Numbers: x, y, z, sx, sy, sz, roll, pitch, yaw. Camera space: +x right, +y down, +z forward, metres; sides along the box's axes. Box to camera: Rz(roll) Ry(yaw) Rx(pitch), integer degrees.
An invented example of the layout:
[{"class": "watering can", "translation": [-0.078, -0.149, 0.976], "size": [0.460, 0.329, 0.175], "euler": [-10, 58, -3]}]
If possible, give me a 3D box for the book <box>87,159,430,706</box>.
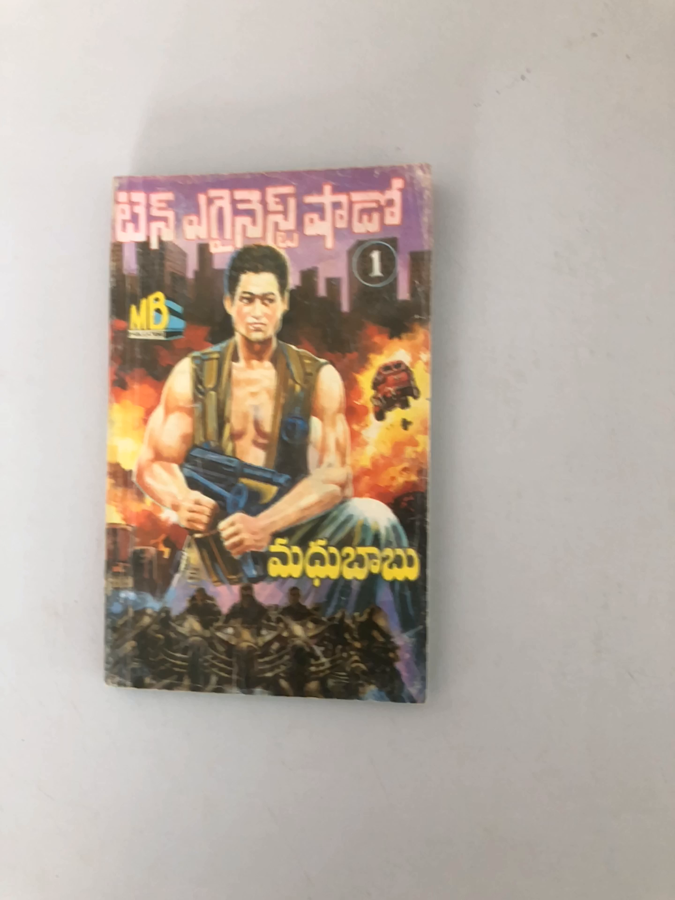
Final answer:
[{"class": "book", "translation": [-0.023, -0.006, 0.222], "size": [0.100, 0.010, 0.151], "euler": [0, 88, 9]}]
